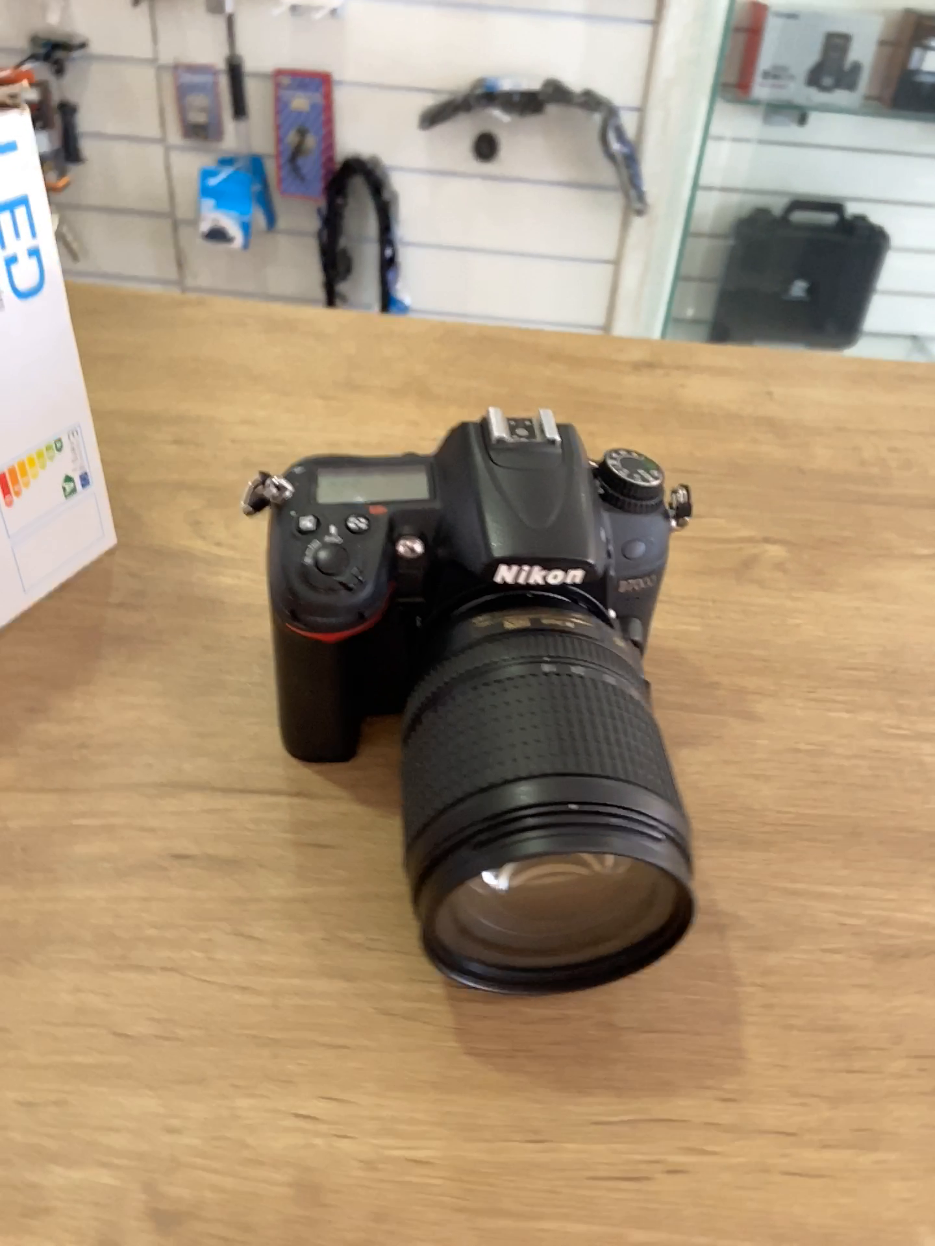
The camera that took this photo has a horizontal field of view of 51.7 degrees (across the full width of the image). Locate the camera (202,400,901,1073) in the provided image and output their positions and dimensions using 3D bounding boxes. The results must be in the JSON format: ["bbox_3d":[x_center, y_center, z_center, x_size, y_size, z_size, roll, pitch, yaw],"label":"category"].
[{"bbox_3d":[0.005,0.019,0.280,0.140,0.099,0.161,-3,40,-9],"label":"camera"}]
